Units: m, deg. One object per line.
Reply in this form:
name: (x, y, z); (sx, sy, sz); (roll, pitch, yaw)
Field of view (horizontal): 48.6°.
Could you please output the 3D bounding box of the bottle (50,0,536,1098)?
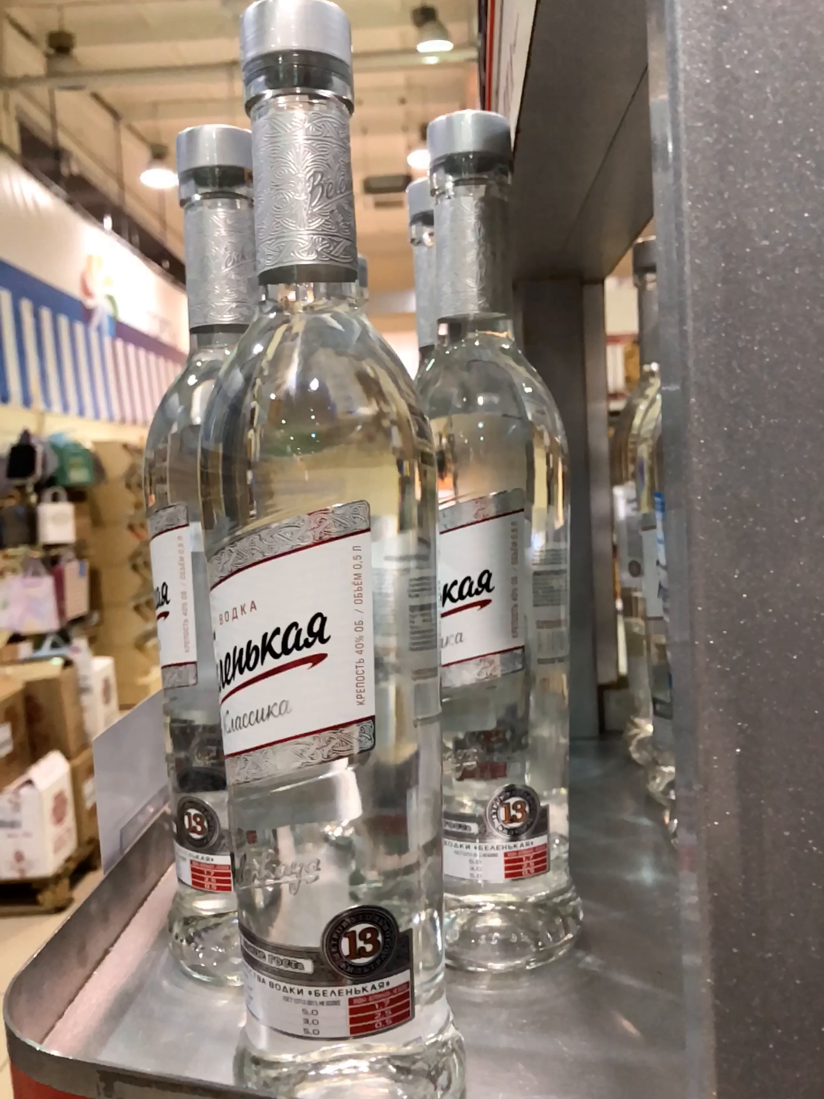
bottle: (-0.031, -0.005, 0.250); (0.080, 0.310, 0.080); (-4, 3, 0)
